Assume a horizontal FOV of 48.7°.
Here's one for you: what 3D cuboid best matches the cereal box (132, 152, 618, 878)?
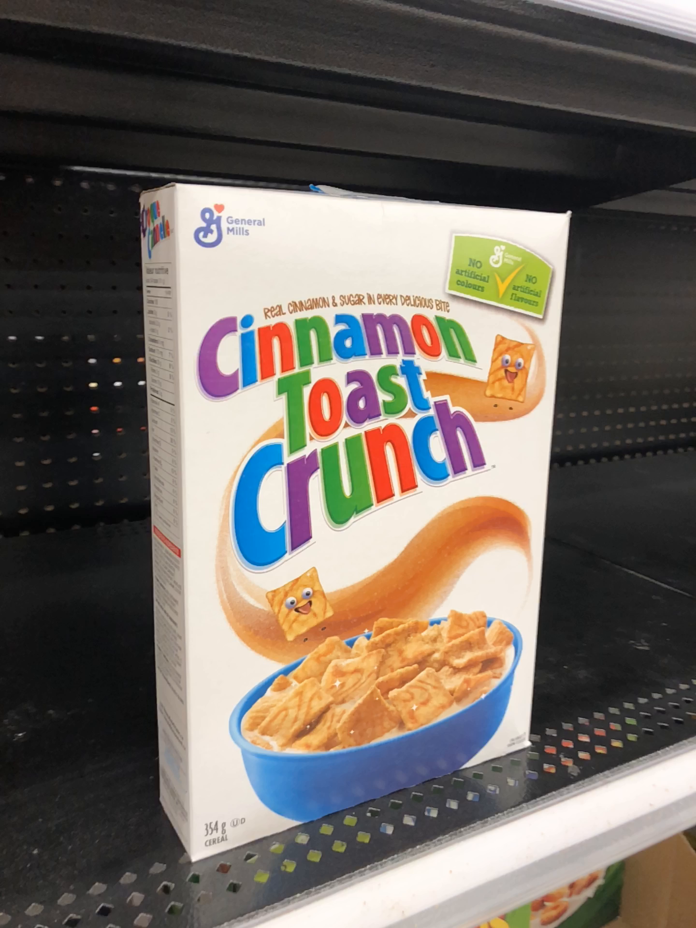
[{"bbox_3d":[0.018,0.018,0.355,0.210,0.279,0.050,-6,14,-28],"label":"cereal box"}]
